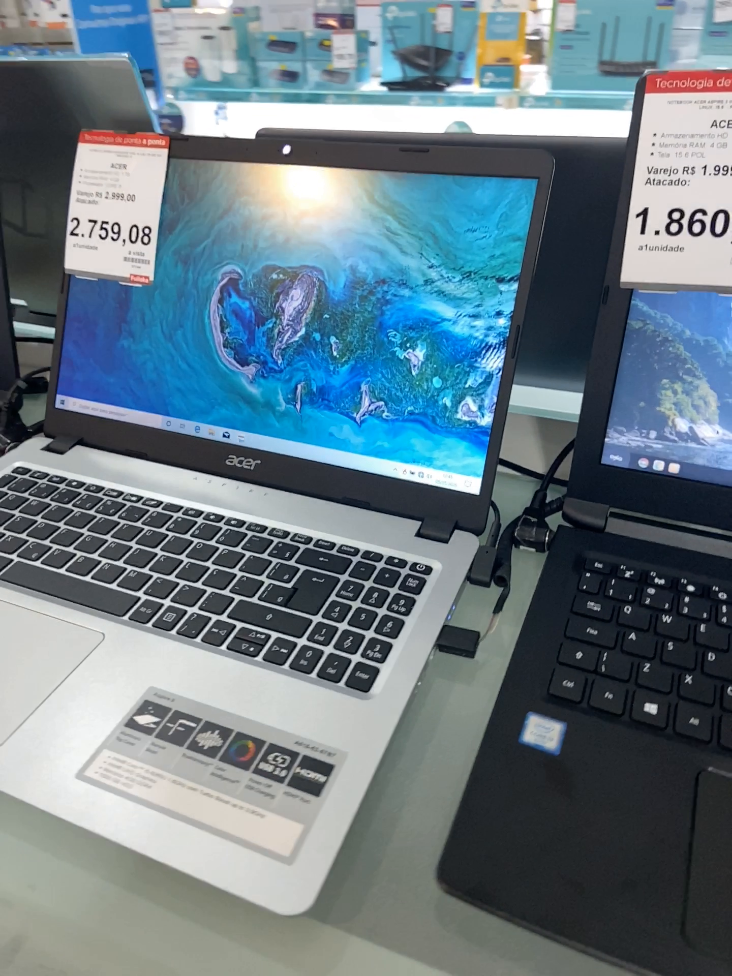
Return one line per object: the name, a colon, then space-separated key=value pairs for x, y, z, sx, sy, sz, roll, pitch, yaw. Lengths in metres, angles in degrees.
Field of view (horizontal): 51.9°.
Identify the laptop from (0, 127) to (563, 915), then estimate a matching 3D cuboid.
laptop: x=-0.114 y=-0.057 z=0.419 sx=0.350 sy=0.198 sz=0.364 roll=11 pitch=37 yaw=21
